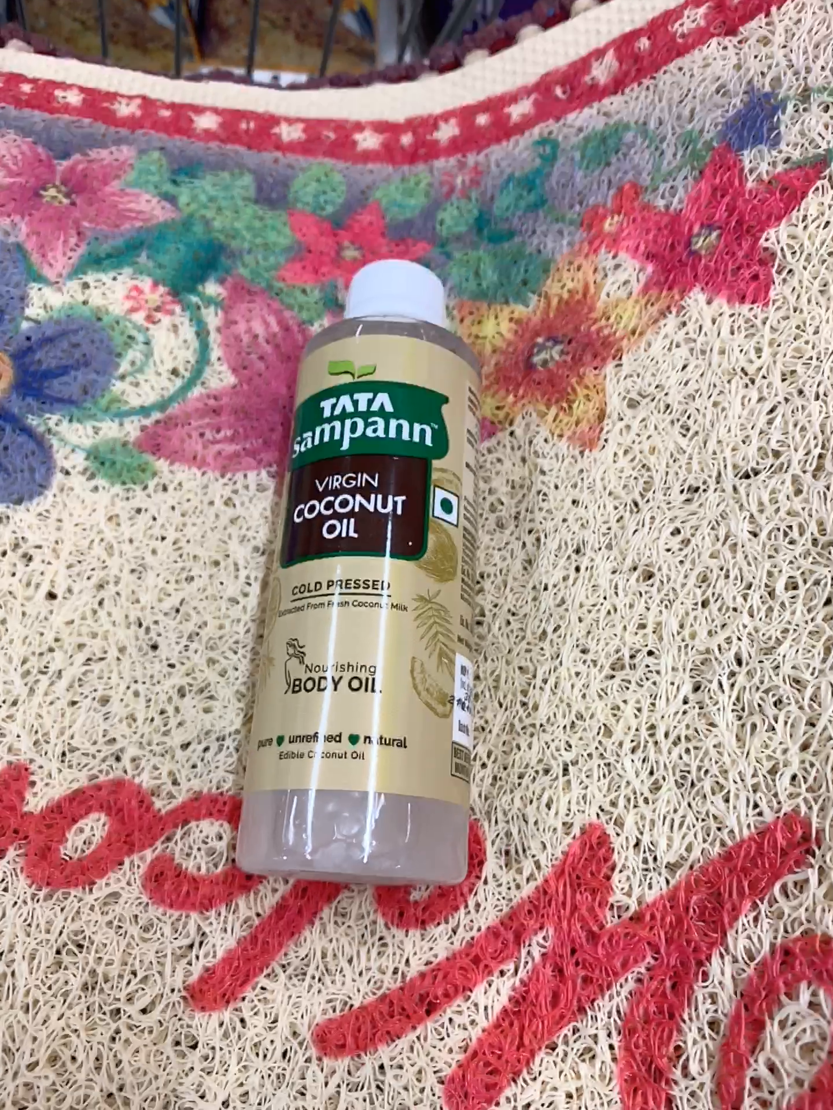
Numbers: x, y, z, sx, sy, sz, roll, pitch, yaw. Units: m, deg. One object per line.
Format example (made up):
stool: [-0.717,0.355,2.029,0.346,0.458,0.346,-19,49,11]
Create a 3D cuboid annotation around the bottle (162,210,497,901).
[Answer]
bottle: [-0.011,-0.005,0.182,0.050,0.030,0.140,1,68,8]
